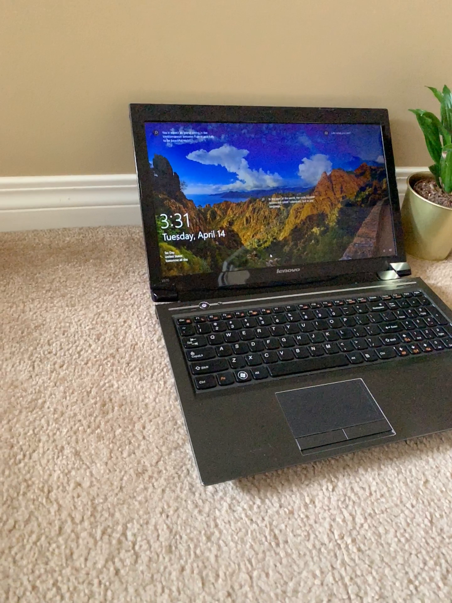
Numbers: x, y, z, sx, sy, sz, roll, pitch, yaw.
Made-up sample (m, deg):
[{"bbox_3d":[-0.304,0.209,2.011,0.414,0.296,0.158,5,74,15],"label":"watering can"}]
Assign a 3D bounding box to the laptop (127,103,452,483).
[{"bbox_3d":[0.108,-0.063,0.532,0.372,0.167,0.411,-6,43,-18],"label":"laptop"}]
